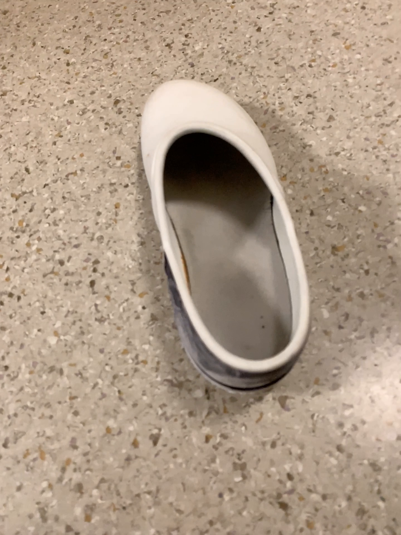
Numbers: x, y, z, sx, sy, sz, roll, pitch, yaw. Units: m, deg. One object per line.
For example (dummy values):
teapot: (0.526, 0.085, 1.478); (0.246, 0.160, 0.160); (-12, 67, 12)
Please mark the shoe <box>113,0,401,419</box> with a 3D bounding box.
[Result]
shoe: (0.019, -0.045, 0.279); (0.107, 0.101, 0.256); (-13, 63, 3)
